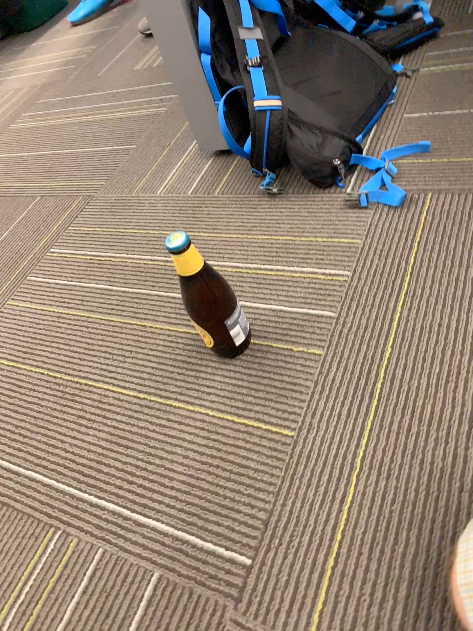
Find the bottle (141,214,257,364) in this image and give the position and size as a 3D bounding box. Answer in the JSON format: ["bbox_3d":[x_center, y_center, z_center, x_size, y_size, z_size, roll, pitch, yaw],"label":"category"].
[{"bbox_3d":[-0.036,-0.024,0.584,0.070,0.179,0.070,-12,47,13],"label":"bottle"}]
